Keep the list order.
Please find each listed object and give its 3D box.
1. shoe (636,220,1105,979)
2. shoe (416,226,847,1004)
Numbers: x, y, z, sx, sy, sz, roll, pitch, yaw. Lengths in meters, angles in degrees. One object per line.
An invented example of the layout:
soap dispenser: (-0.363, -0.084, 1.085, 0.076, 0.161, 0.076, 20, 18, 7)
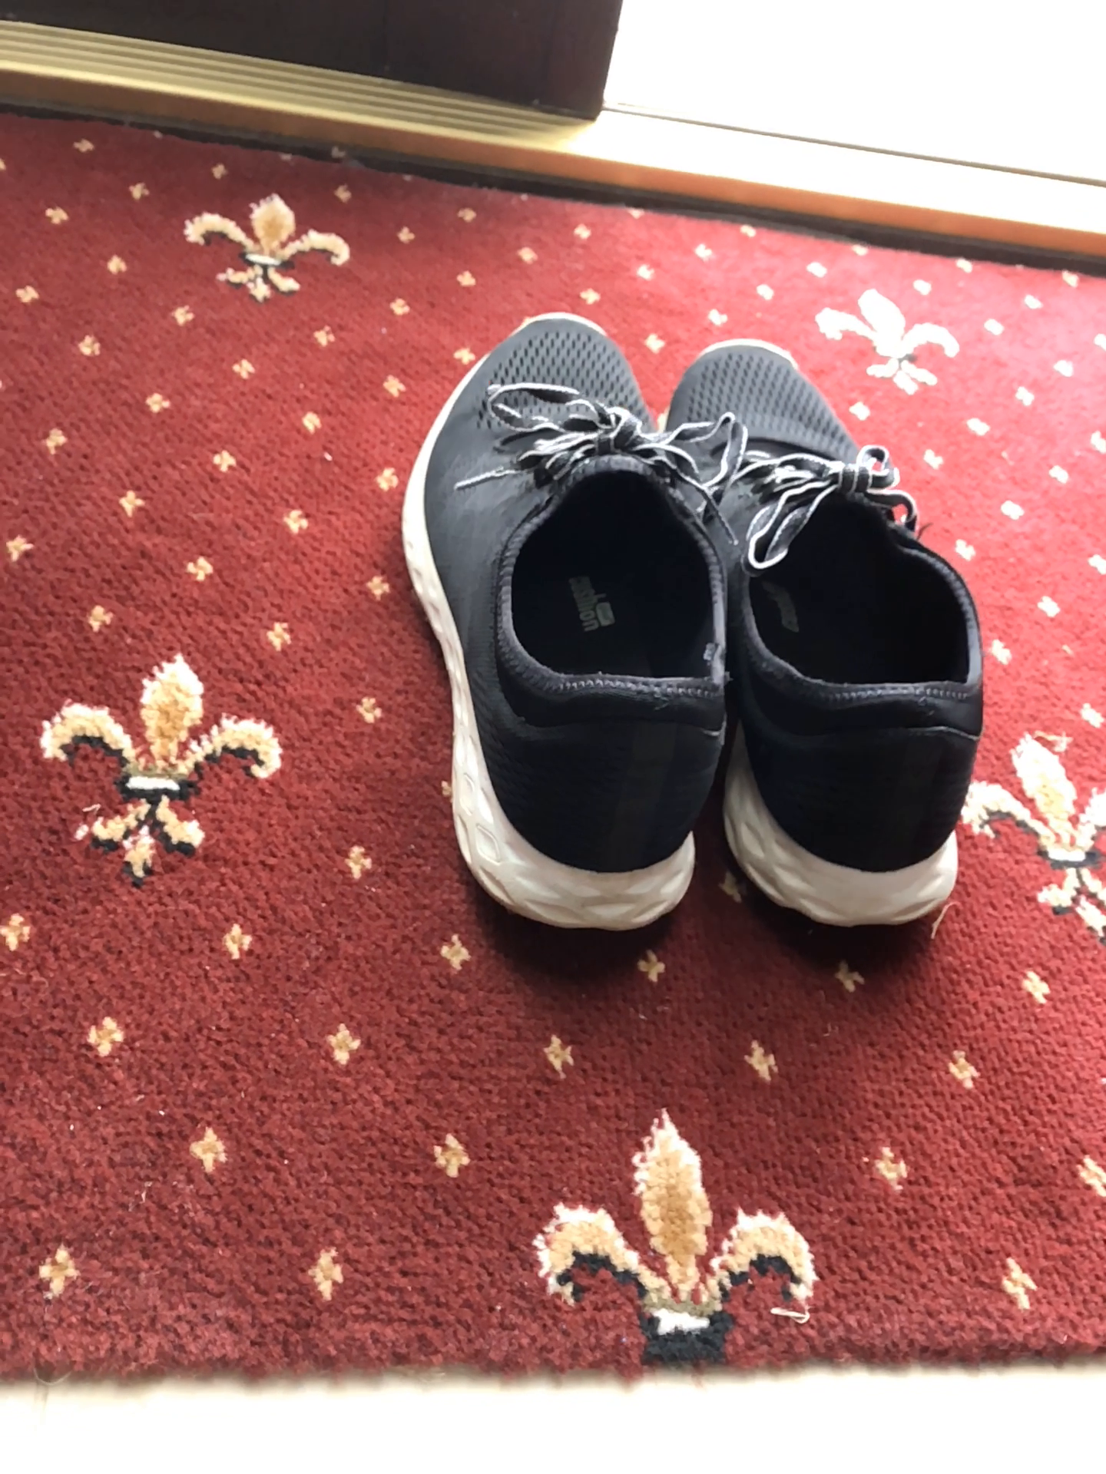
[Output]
shoe: (0.102, -0.061, 0.449, 0.100, 0.109, 0.272, 4, 50, -9)
shoe: (0.007, -0.054, 0.436, 0.100, 0.109, 0.272, 2, 51, -10)
